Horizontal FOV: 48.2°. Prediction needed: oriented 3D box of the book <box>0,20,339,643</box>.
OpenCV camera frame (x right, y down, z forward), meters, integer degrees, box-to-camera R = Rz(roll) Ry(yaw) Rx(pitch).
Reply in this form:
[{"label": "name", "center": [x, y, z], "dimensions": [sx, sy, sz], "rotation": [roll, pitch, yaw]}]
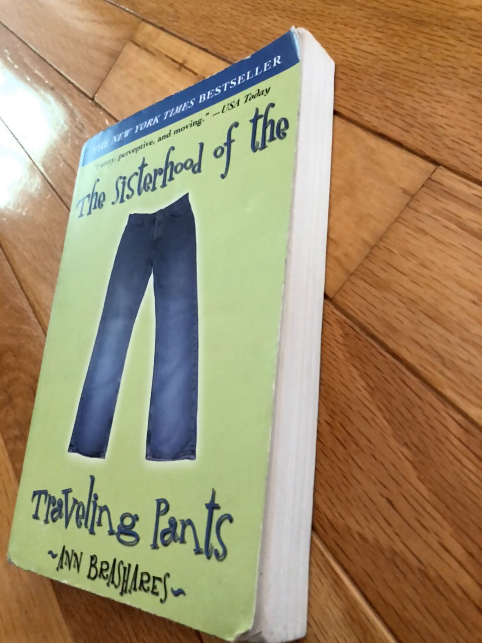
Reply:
[{"label": "book", "center": [-0.034, -0.001, 0.220], "dimensions": [0.142, 0.025, 0.209], "rotation": [-8, 67, 37]}]
